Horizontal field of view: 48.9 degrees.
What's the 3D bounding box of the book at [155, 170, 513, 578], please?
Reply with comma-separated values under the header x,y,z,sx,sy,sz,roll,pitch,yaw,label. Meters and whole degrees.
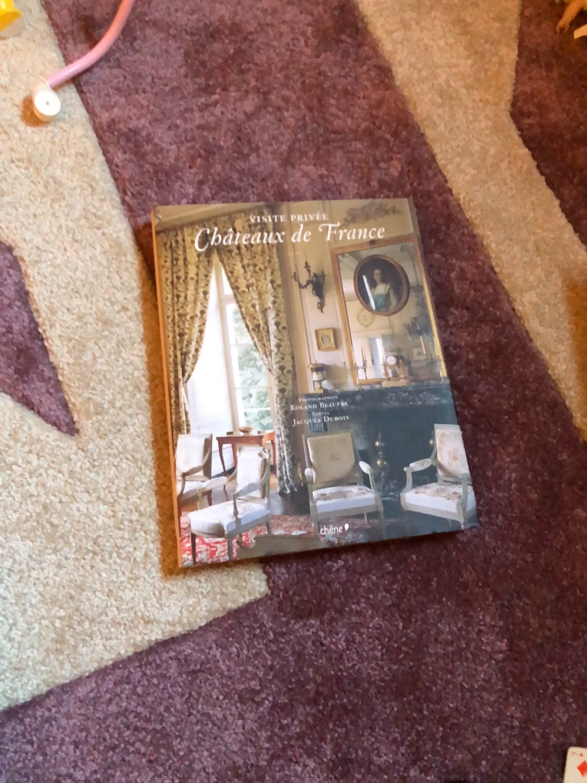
x,y,z,sx,sy,sz,roll,pitch,yaw,label
0.024,-0.030,0.565,0.260,0.050,0.340,-5,74,-10,book
